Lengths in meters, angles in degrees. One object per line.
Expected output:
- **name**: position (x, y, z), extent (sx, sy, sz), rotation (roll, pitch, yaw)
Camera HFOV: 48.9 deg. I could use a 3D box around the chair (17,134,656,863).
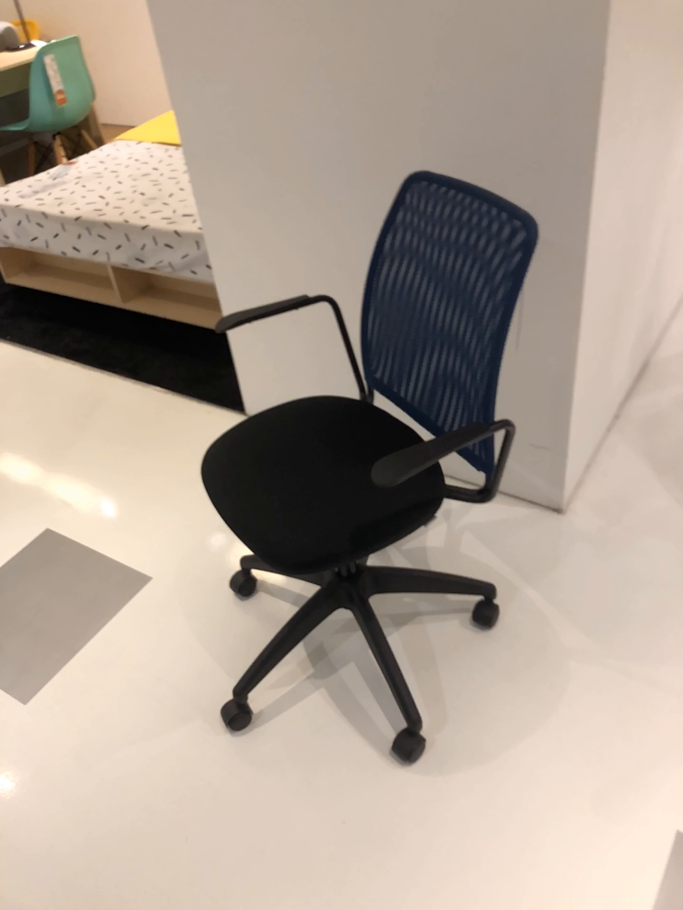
- **chair**: position (-0.011, 0.045, 1.365), extent (0.701, 0.922, 0.665), rotation (-23, 40, -18)
